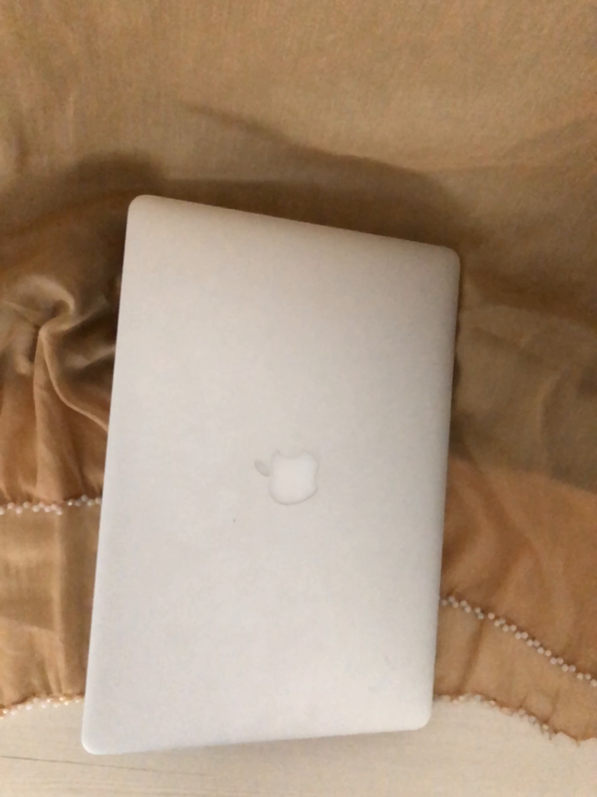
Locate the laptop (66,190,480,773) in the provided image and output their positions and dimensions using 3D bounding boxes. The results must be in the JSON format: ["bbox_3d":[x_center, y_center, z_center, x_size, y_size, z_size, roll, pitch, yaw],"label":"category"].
[{"bbox_3d":[-0.013,0.053,0.457,0.239,0.064,0.351,5,86,-3],"label":"laptop"}]
